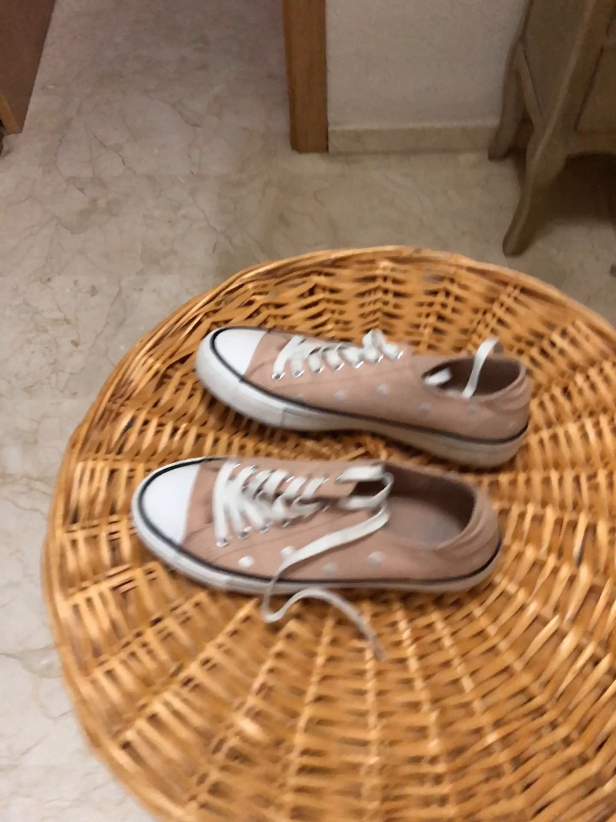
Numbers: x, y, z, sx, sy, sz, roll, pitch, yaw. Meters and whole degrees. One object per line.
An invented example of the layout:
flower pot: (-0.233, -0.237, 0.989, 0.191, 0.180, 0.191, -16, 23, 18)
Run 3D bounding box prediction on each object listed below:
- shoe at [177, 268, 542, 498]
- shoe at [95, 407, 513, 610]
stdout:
shoe: (0.039, -0.024, 0.519, 0.246, 0.095, 0.093, 11, 49, 9)
shoe: (0.002, 0.064, 0.453, 0.246, 0.085, 0.087, 4, 60, 9)
